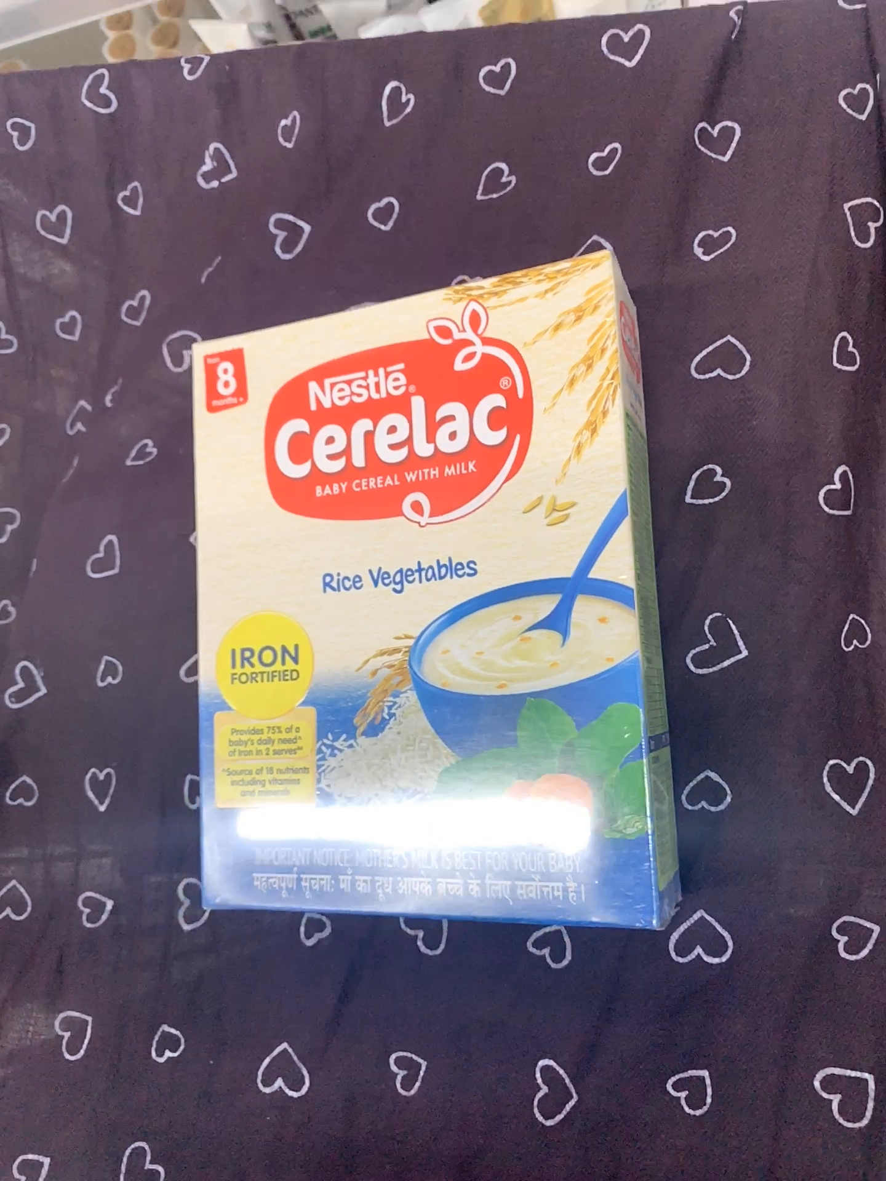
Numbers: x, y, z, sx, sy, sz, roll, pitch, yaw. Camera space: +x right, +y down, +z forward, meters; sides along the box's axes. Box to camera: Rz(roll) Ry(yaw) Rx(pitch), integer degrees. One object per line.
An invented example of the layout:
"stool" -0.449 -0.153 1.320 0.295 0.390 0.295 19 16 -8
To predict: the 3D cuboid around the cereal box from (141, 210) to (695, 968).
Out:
"cereal box" -0.013 0.005 0.276 0.150 0.050 0.190 -6 81 20
